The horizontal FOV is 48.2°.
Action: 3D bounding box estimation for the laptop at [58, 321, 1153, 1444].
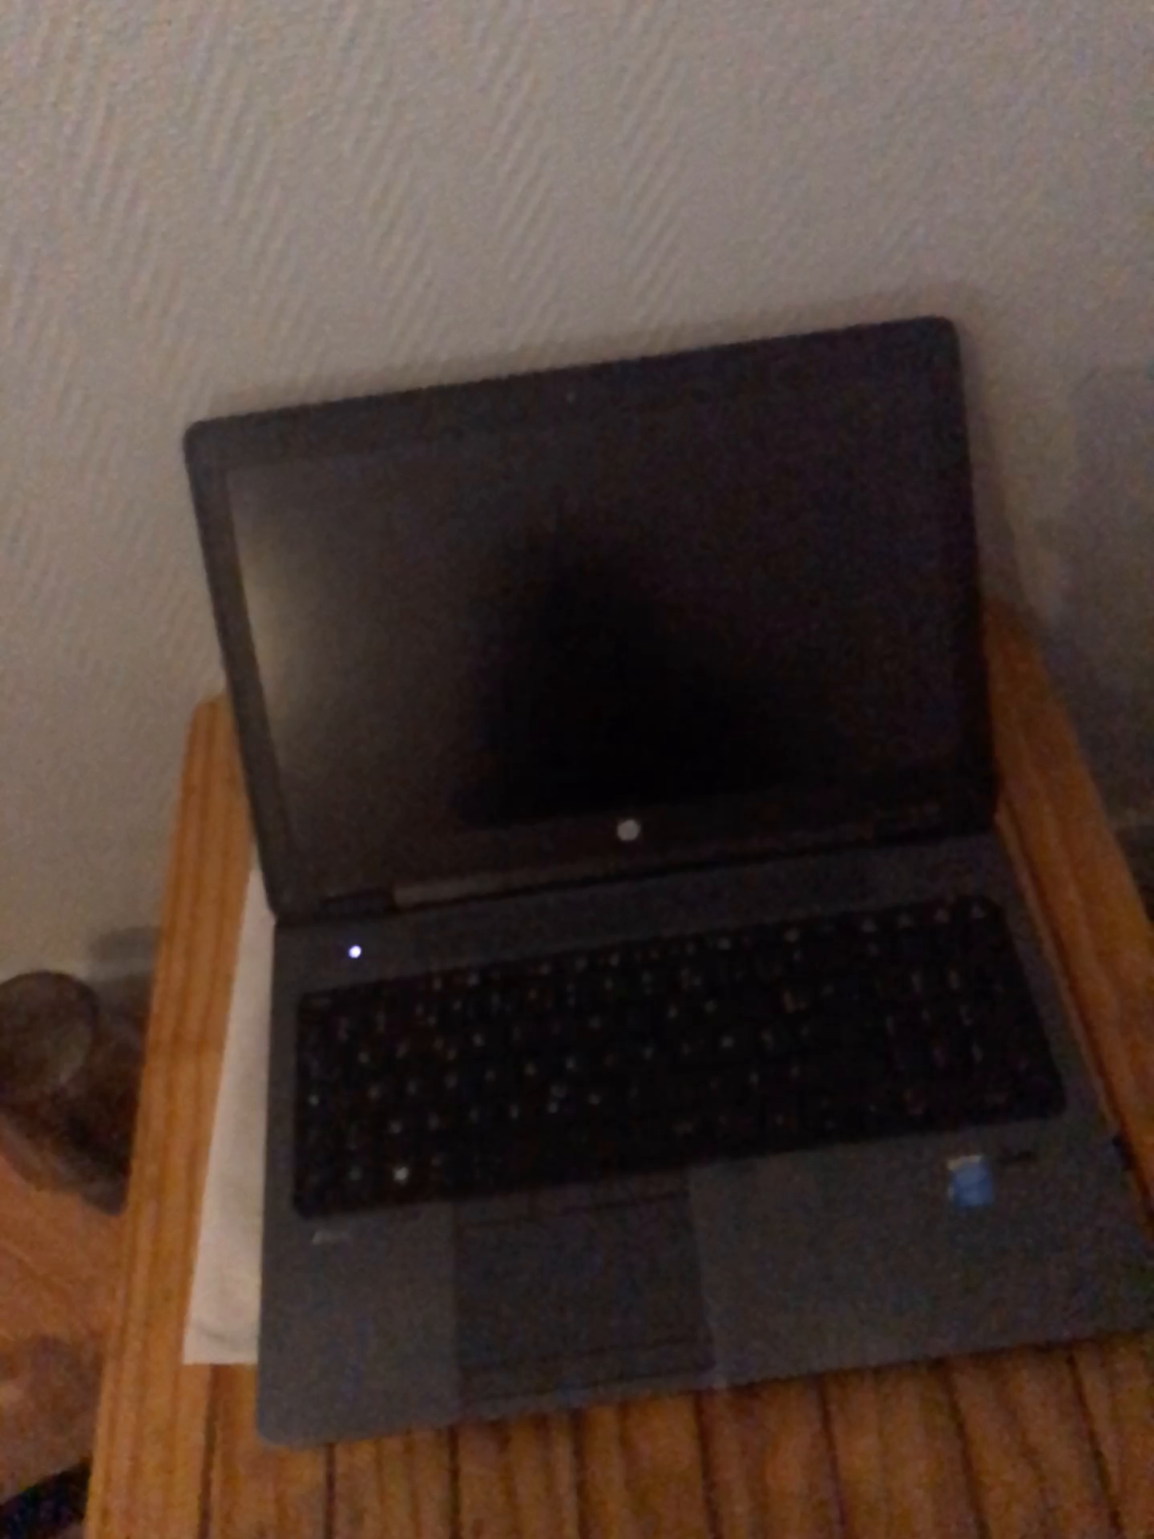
[{"bbox_3d":[0.020,0.030,0.584,0.382,0.196,0.411,-9,53,0],"label":"laptop"}]
